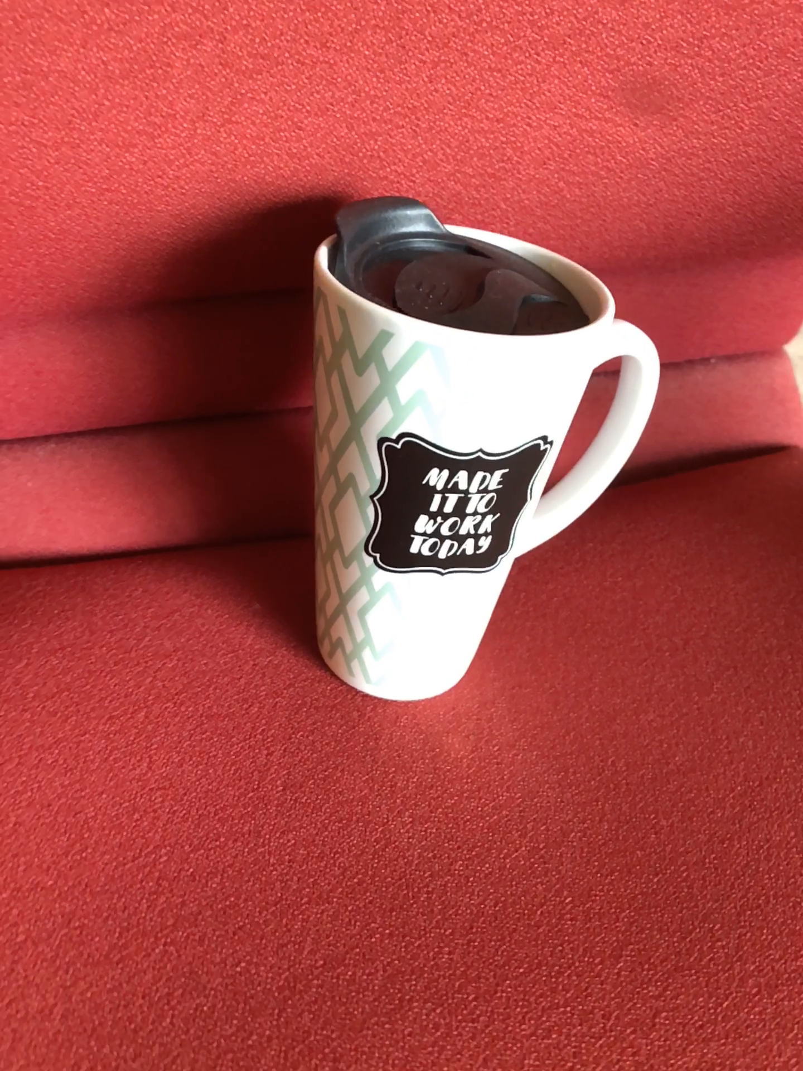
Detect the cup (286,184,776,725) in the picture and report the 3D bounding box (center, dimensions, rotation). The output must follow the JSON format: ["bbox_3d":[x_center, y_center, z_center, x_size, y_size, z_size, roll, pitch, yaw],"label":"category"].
[{"bbox_3d":[0.026,-0.025,0.308,0.120,0.160,0.080,-6,42,-14],"label":"cup"}]
